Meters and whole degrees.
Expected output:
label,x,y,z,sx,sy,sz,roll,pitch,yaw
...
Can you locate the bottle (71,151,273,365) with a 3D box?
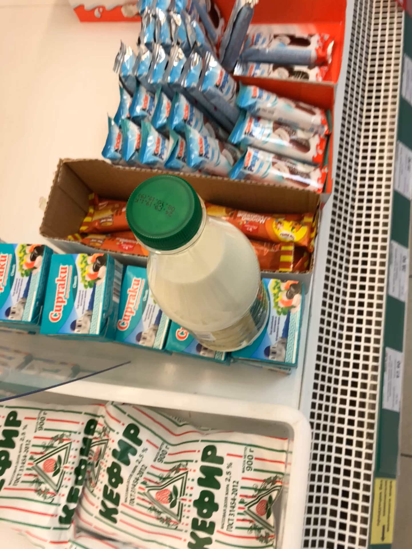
label,x,y,z,sx,sy,sz,roll,pitch,yaw
bottle,-0.001,0.009,0.356,0.085,0.239,0.081,-3,72,10
